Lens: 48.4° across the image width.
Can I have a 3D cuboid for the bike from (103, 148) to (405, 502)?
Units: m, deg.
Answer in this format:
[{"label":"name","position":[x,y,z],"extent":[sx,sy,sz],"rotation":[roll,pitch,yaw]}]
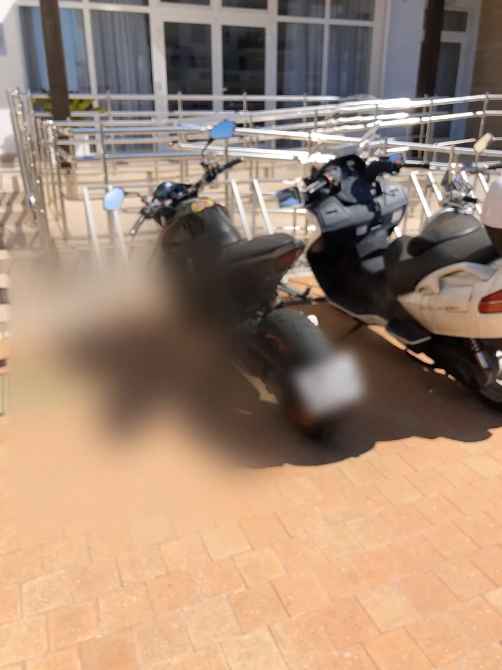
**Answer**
[{"label":"bike","position":[-0.166,-0.304,2.961],"extent":[0.796,1.170,1.956],"rotation":[-9,23,-22]}]
